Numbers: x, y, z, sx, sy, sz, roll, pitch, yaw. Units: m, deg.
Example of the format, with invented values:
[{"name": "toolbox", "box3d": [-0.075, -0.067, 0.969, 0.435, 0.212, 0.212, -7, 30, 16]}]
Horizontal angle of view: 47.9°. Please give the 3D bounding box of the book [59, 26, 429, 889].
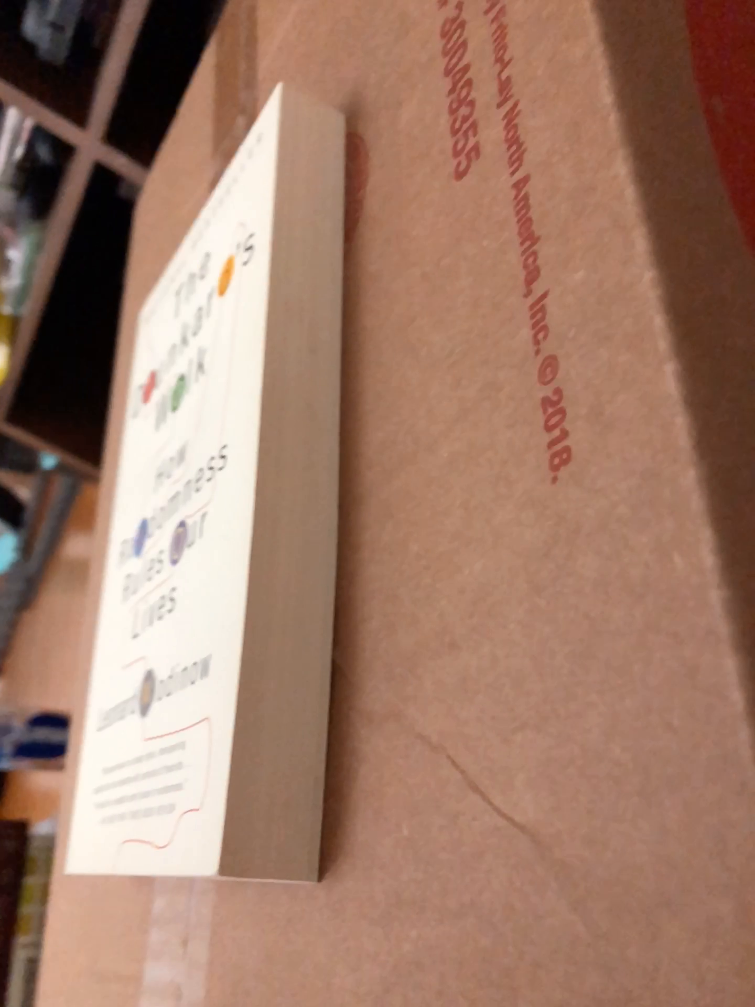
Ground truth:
[{"name": "book", "box3d": [-0.042, -0.004, 0.250, 0.140, 0.040, 0.210, -34, 48, 52]}]
